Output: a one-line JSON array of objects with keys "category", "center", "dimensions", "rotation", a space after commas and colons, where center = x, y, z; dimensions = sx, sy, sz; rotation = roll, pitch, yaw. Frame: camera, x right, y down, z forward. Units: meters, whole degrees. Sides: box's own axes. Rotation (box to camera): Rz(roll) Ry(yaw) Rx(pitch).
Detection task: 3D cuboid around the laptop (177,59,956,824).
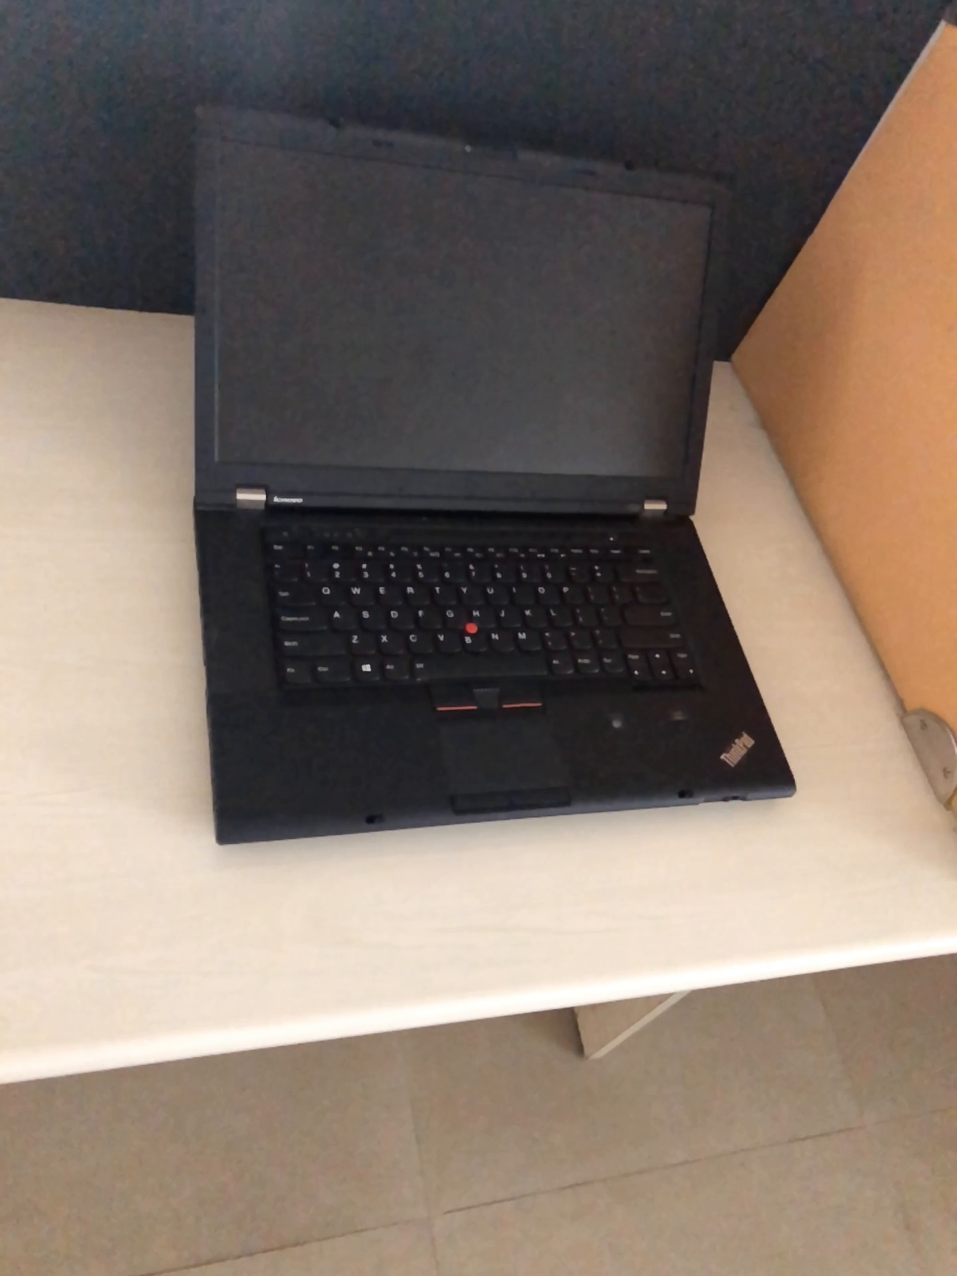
[{"category": "laptop", "center": [0.018, -0.116, 0.643], "dimensions": [0.354, 0.185, 0.380], "rotation": [-1, 58, -21]}]
